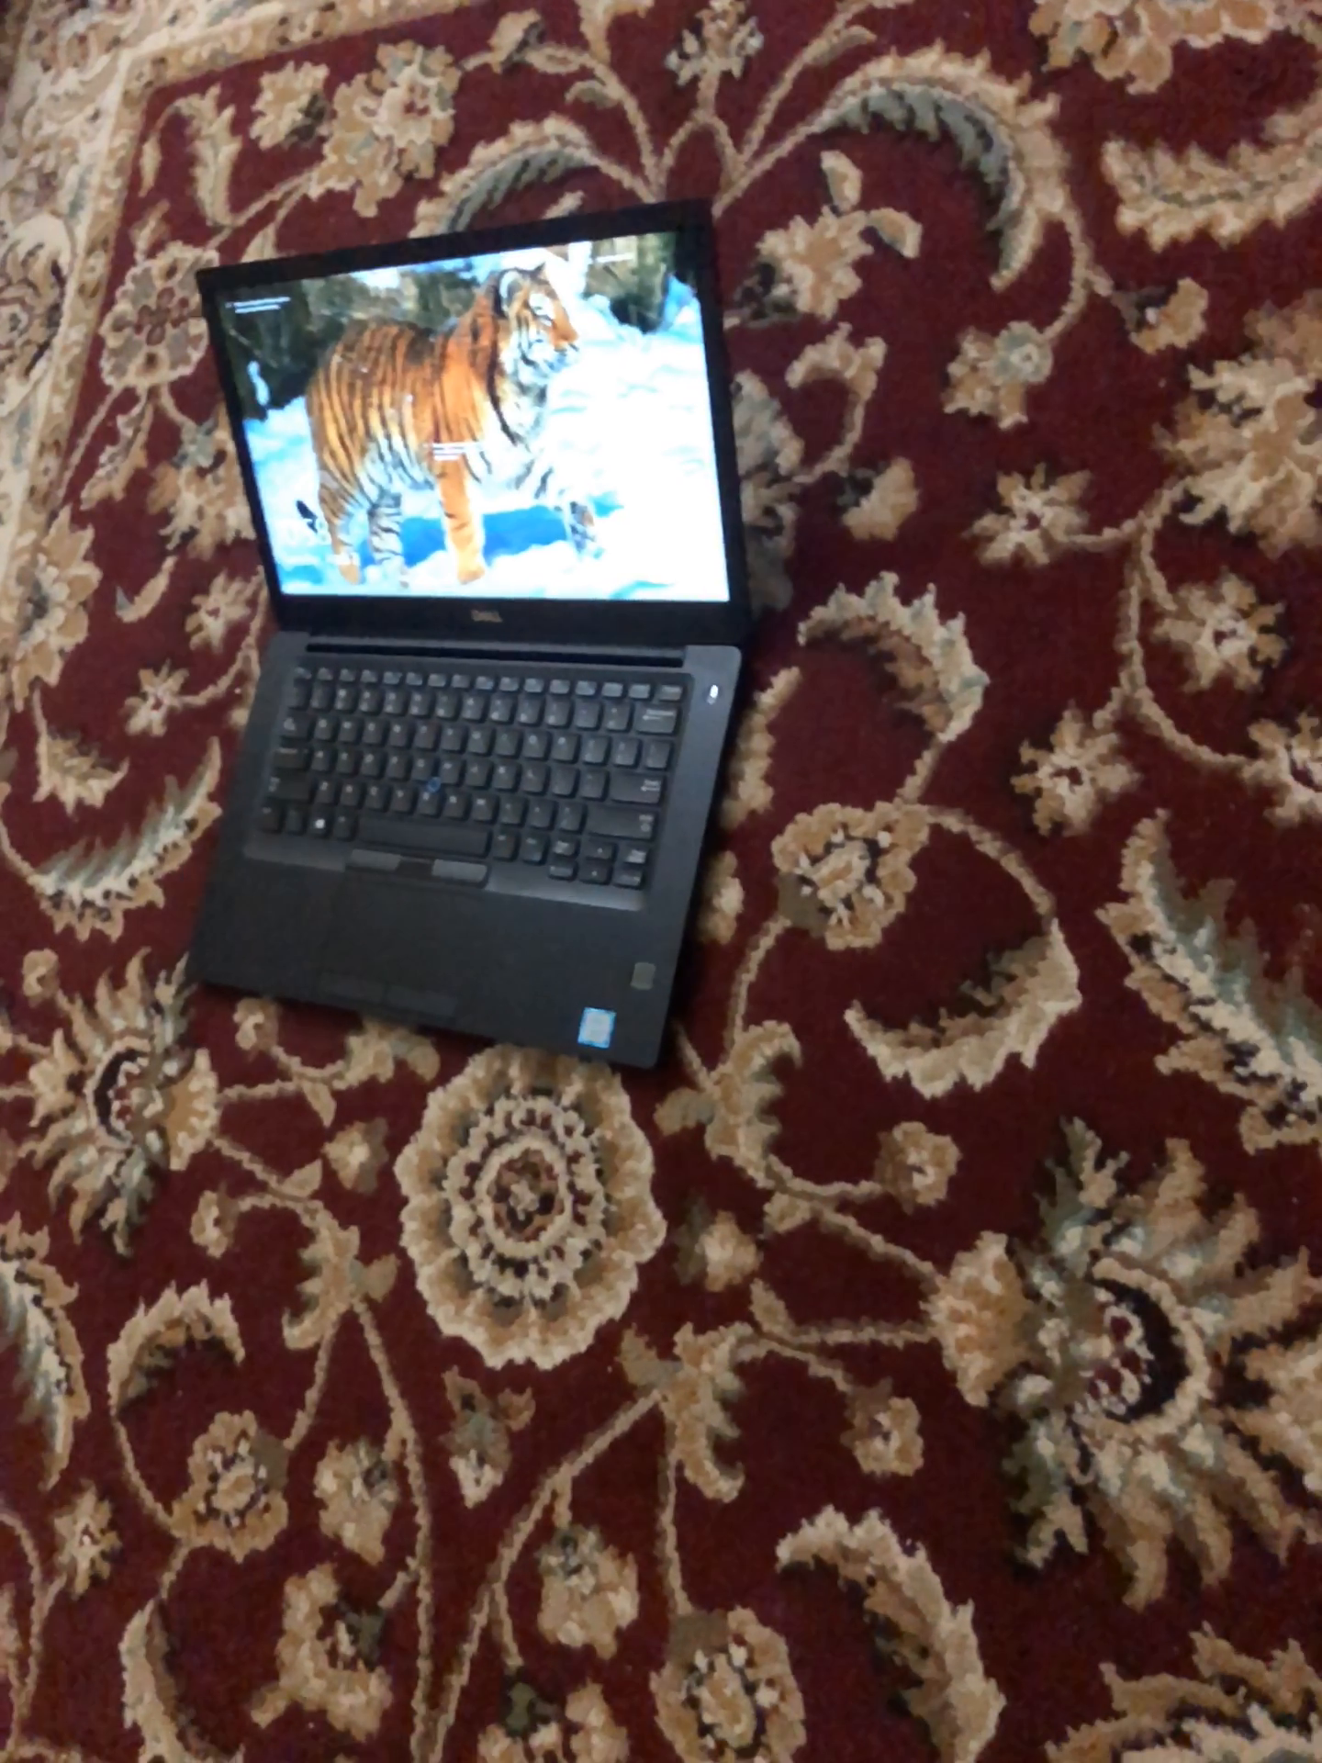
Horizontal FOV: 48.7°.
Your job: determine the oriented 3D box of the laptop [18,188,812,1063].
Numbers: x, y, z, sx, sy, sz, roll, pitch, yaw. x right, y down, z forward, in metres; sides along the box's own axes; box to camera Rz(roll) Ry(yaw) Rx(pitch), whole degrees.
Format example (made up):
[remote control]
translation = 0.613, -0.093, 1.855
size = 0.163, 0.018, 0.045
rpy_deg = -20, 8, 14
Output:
[laptop]
translation = -0.130, -0.128, 0.766
size = 0.329, 0.124, 0.383
rpy_deg = 7, 80, 31
